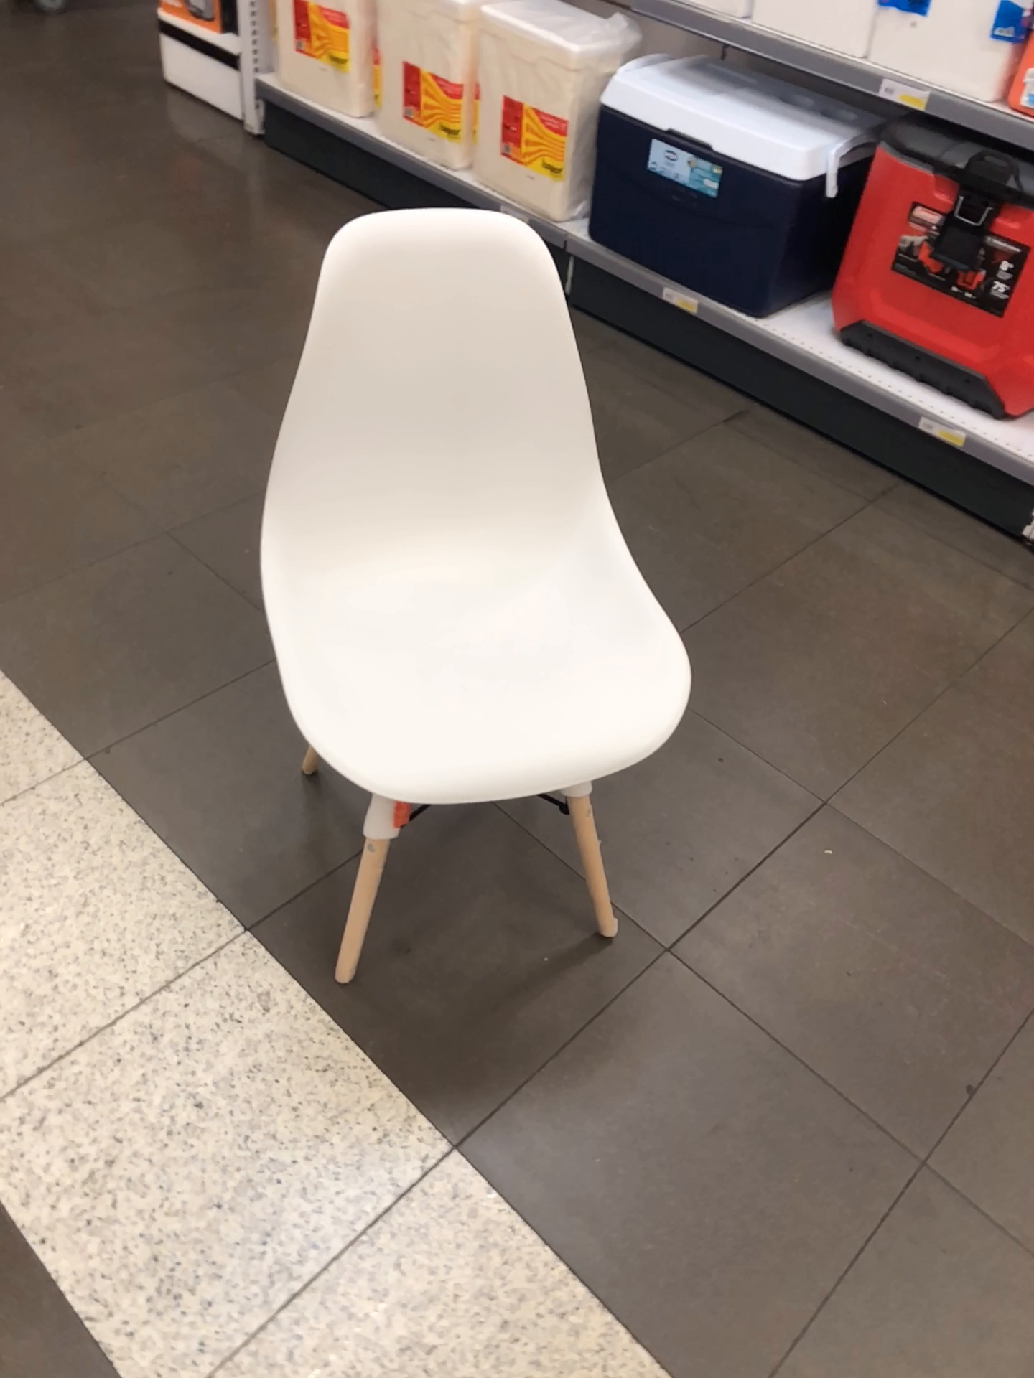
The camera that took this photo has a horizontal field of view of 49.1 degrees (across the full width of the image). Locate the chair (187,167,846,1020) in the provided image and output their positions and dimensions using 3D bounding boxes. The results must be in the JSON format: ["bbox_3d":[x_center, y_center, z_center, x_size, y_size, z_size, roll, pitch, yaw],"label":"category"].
[{"bbox_3d":[-0.077,-0.098,1.334,0.520,0.794,0.544,-4,44,-13],"label":"chair"}]
